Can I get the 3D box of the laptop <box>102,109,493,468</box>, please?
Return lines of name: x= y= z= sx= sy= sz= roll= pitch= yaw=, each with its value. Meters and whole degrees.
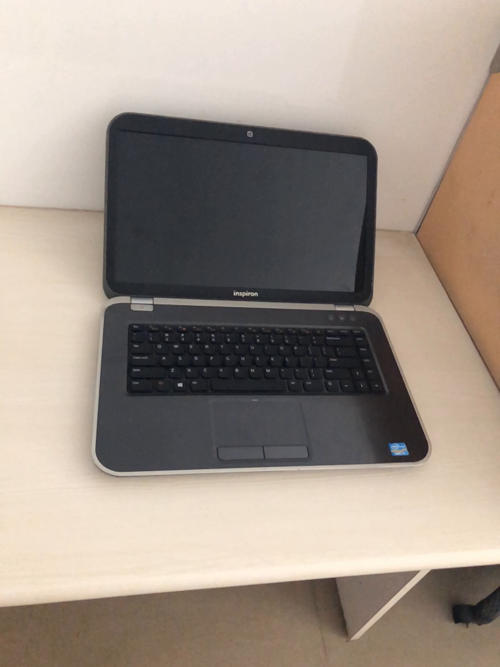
laptop: x=0.013 y=-0.071 z=0.646 sx=0.339 sy=0.152 sz=0.410 roll=1 pitch=48 yaw=-12
